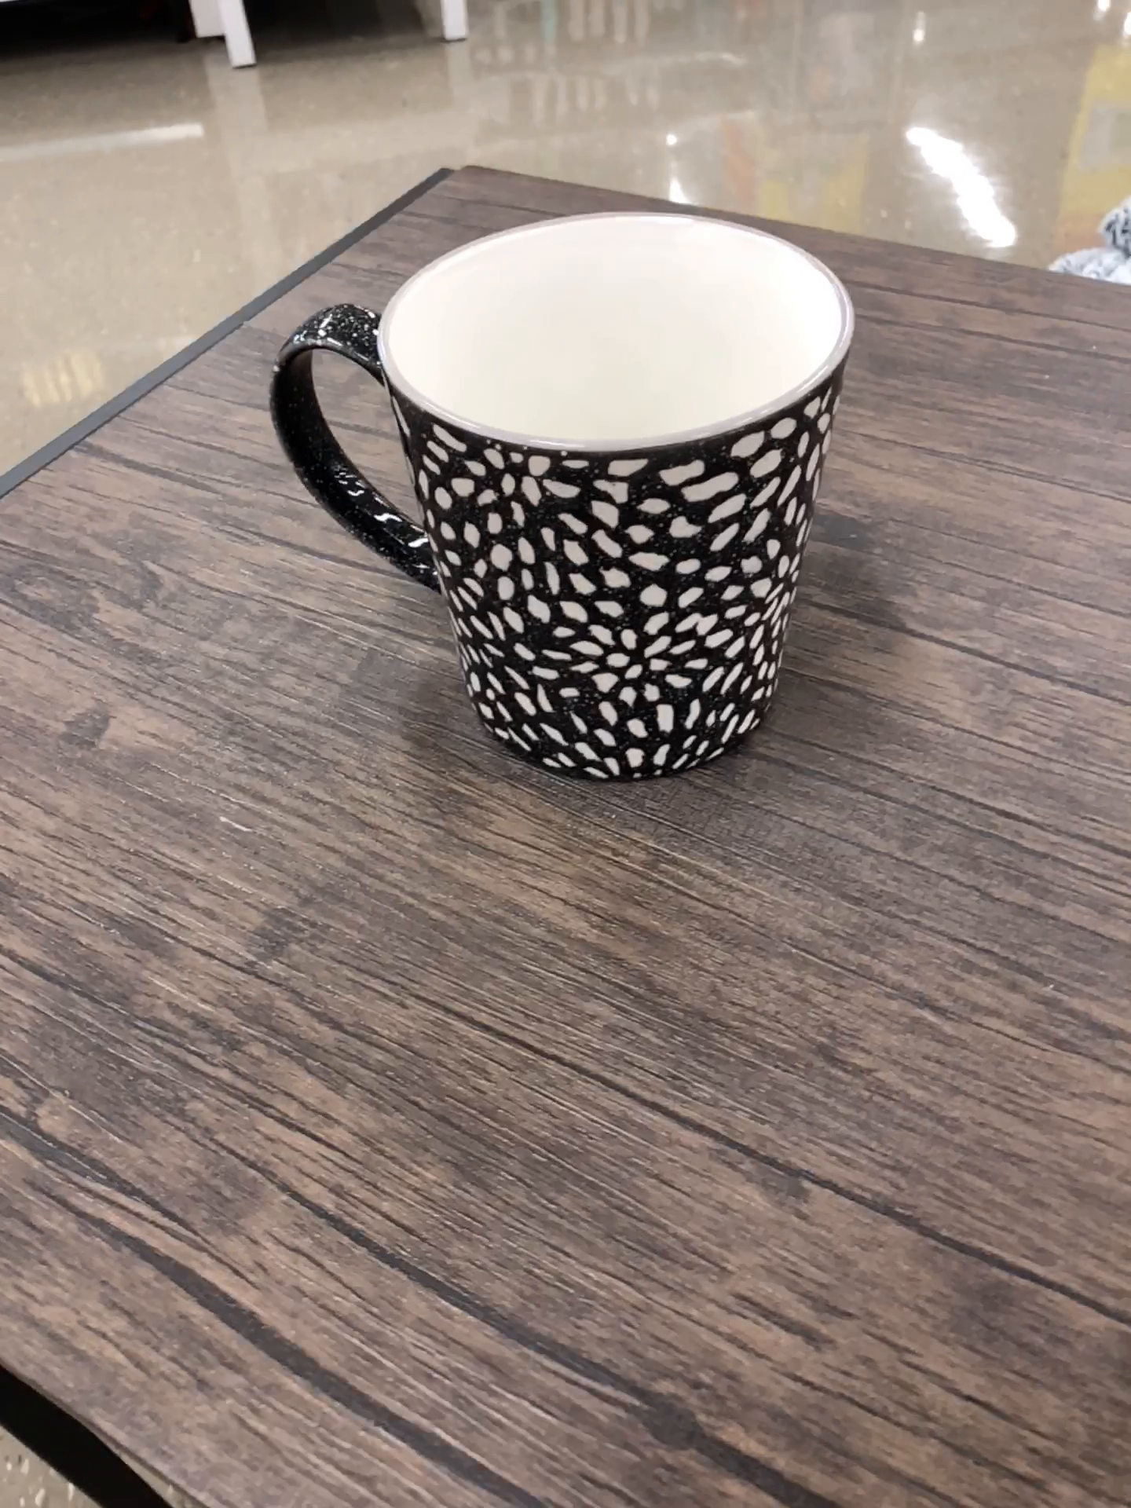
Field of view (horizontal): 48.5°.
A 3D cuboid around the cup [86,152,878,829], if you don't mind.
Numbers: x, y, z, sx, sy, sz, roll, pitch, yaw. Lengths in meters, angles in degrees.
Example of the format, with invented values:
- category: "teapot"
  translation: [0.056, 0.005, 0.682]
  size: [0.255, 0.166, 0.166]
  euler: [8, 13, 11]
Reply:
- category: "cup"
  translation: [-0.012, -0.068, 0.303]
  size: [0.140, 0.100, 0.100]
  euler: [14, 49, 17]
